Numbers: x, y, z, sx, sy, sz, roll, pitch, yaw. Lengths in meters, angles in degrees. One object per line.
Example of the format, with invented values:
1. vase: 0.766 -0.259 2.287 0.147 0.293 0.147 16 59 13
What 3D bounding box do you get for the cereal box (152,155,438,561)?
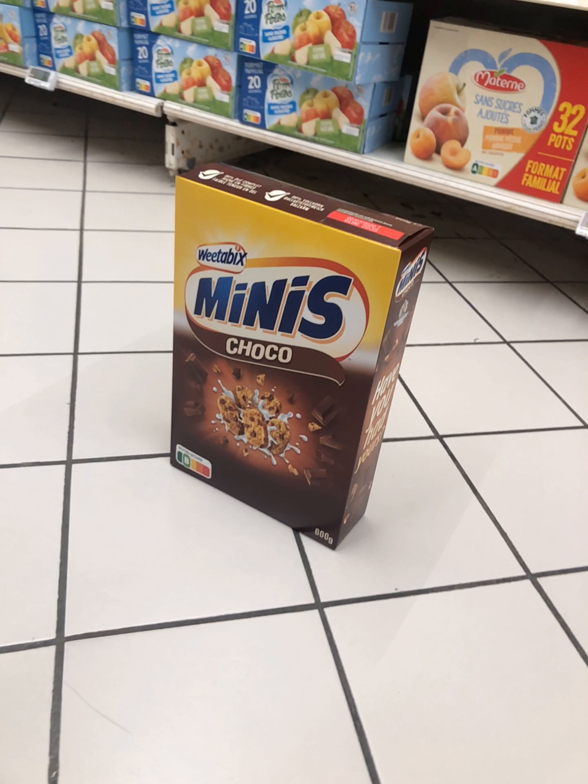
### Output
1. cereal box: -0.018 -0.026 0.556 0.200 0.288 0.081 23 36 22
